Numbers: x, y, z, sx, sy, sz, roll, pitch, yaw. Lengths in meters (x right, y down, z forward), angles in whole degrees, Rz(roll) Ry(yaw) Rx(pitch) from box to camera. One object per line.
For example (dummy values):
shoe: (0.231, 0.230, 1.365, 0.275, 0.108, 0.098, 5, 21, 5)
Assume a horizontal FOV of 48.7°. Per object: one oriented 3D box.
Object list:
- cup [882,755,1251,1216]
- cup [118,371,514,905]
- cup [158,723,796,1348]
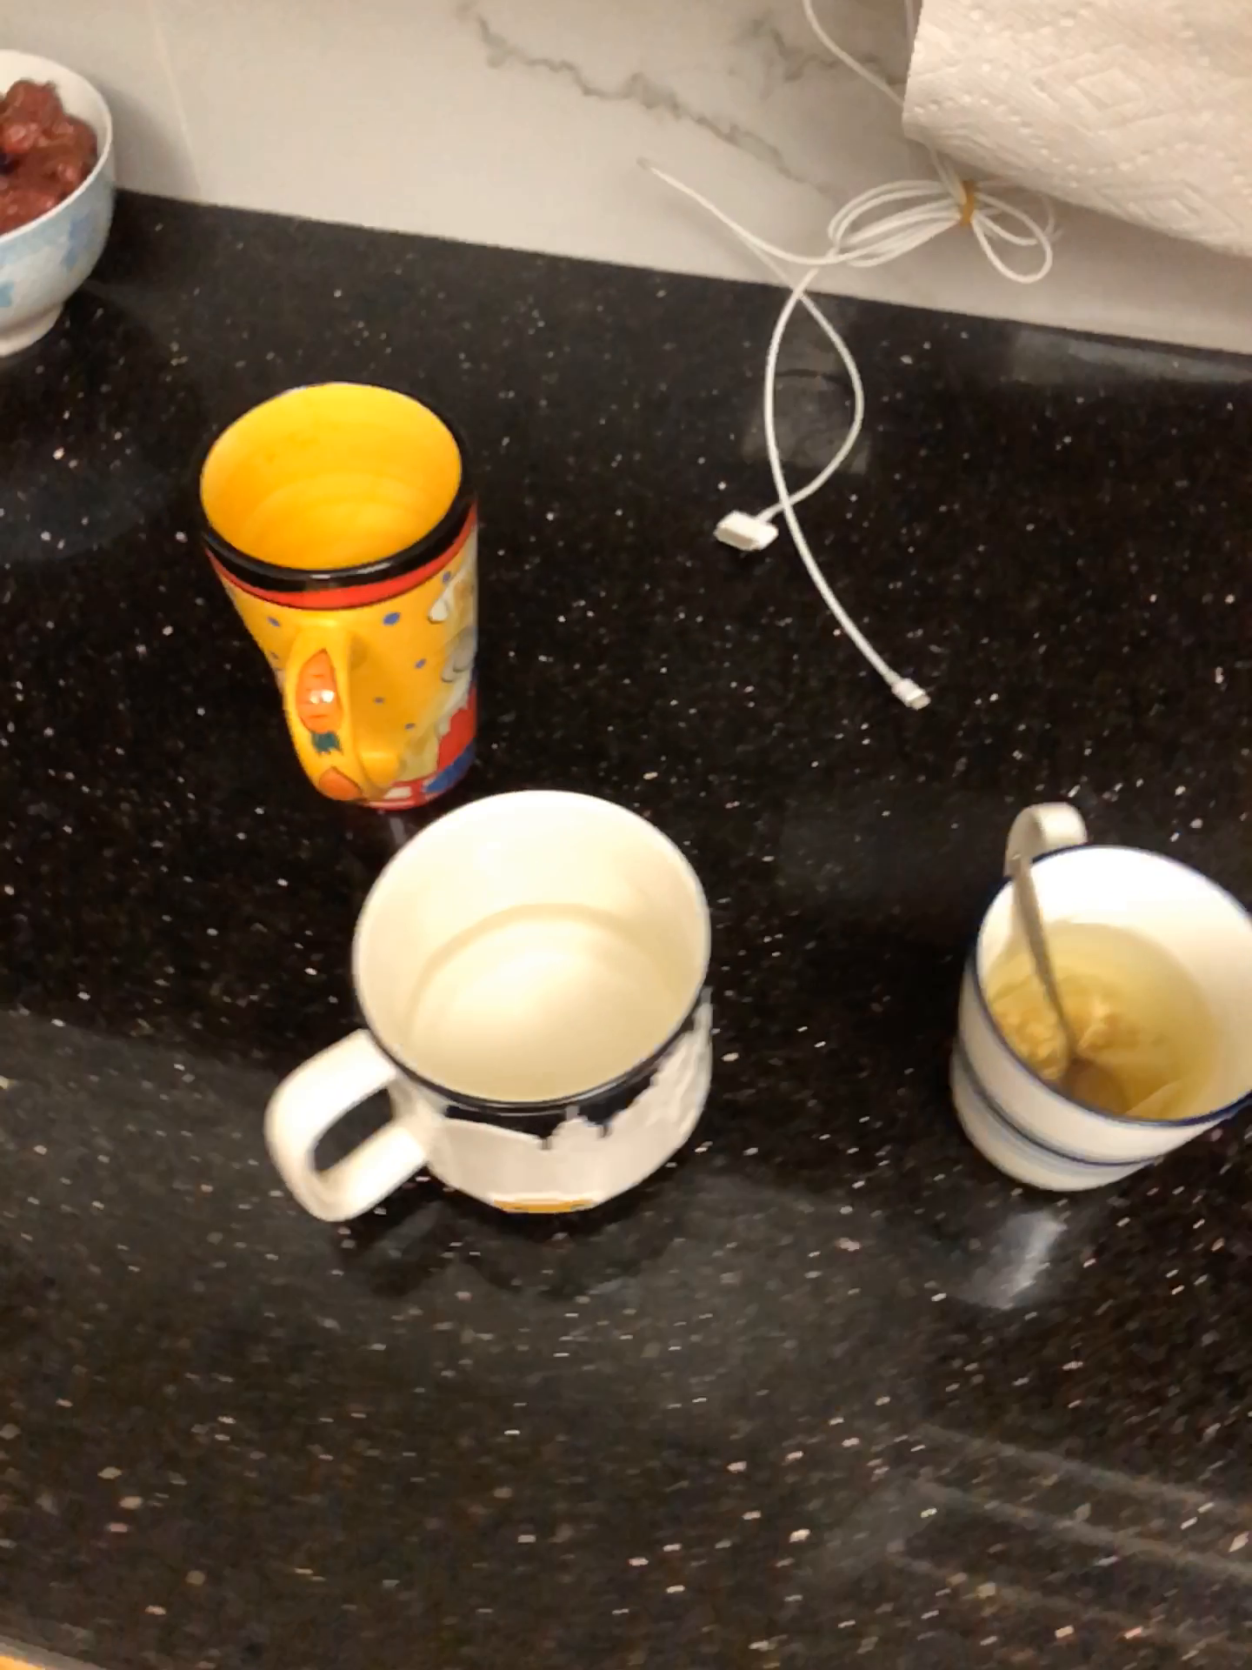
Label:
cup: (0.136, 0.044, 0.418, 0.090, 0.060, 0.120, -3, 57, -1)
cup: (-0.094, -0.067, 0.472, 0.100, 0.100, 0.151, -1, 57, 0)
cup: (-0.042, 0.057, 0.413, 0.140, 0.080, 0.110, -27, 61, -16)
